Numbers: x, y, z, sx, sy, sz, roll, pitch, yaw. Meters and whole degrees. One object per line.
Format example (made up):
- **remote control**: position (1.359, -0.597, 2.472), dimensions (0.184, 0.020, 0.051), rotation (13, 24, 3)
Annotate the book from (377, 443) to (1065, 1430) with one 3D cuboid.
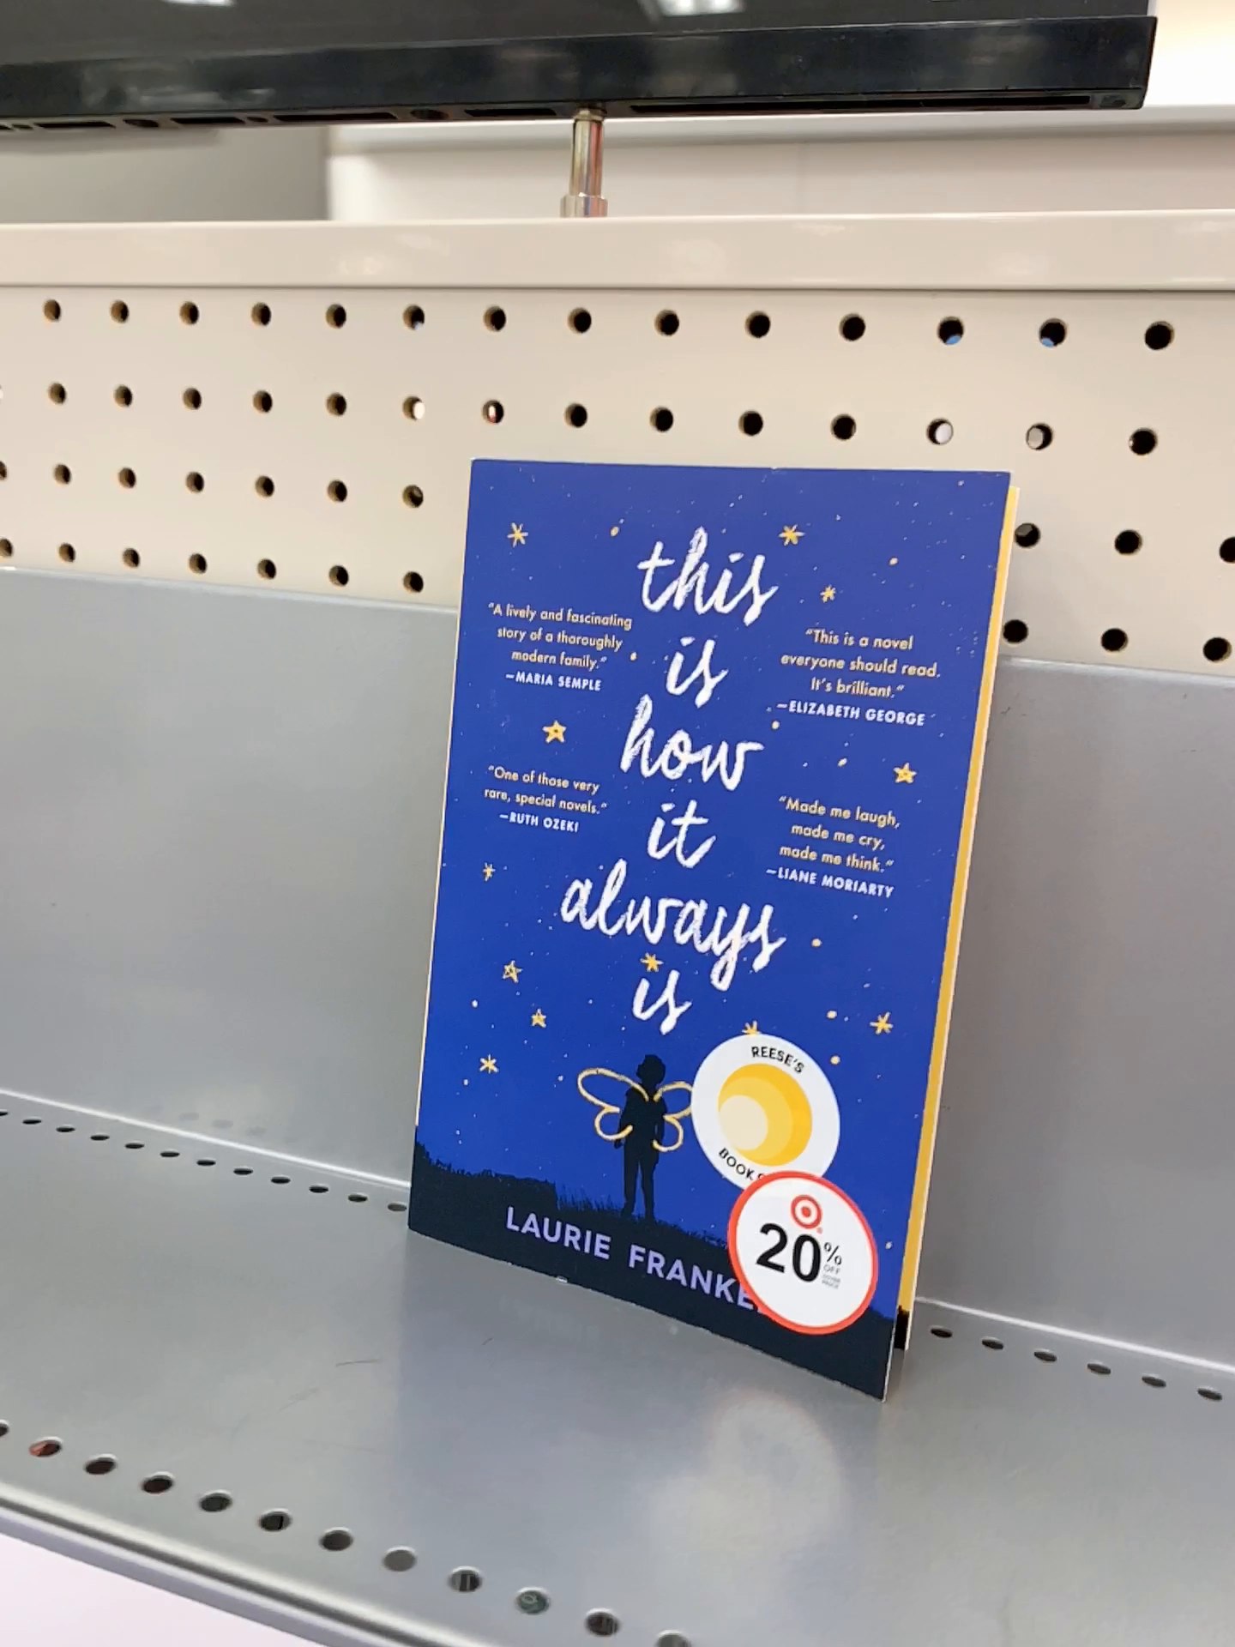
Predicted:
- **book**: position (0.020, 0.018, 0.321), dimensions (0.140, 0.209, 0.044), rotation (10, 8, 26)
